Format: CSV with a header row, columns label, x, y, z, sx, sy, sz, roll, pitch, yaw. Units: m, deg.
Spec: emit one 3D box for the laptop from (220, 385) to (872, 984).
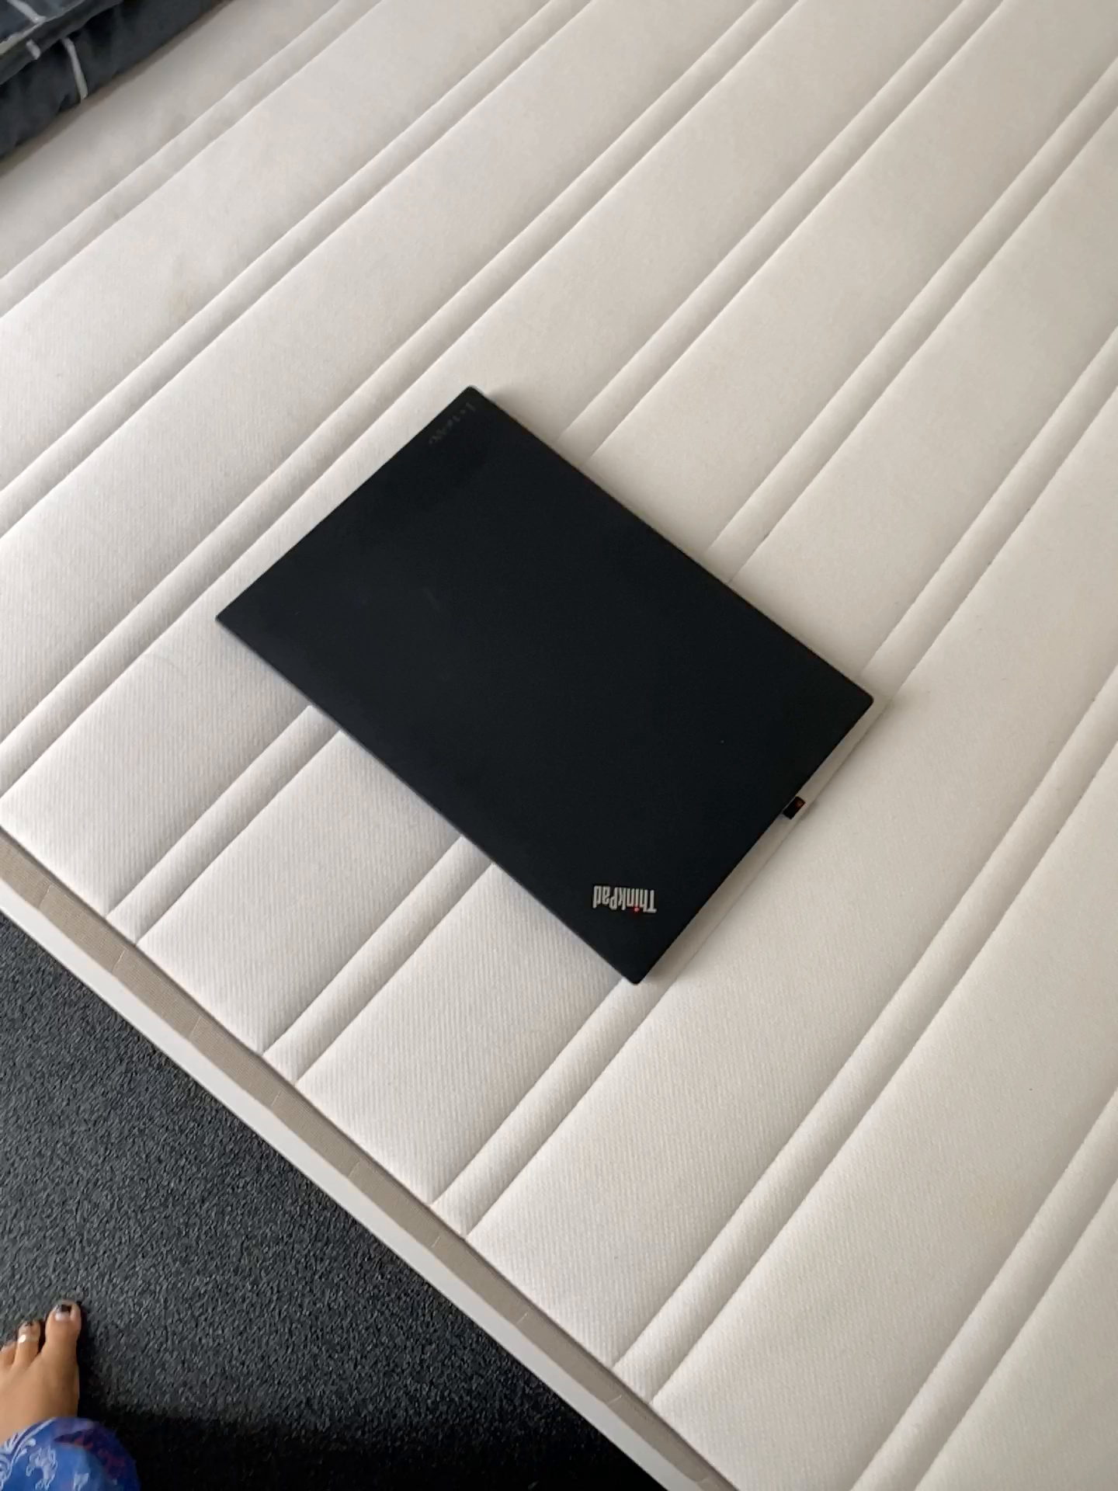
label,x,y,z,sx,sy,sz,roll,pitch,yaw
laptop,-0.007,-0.044,0.605,0.288,0.005,0.193,40,76,10
